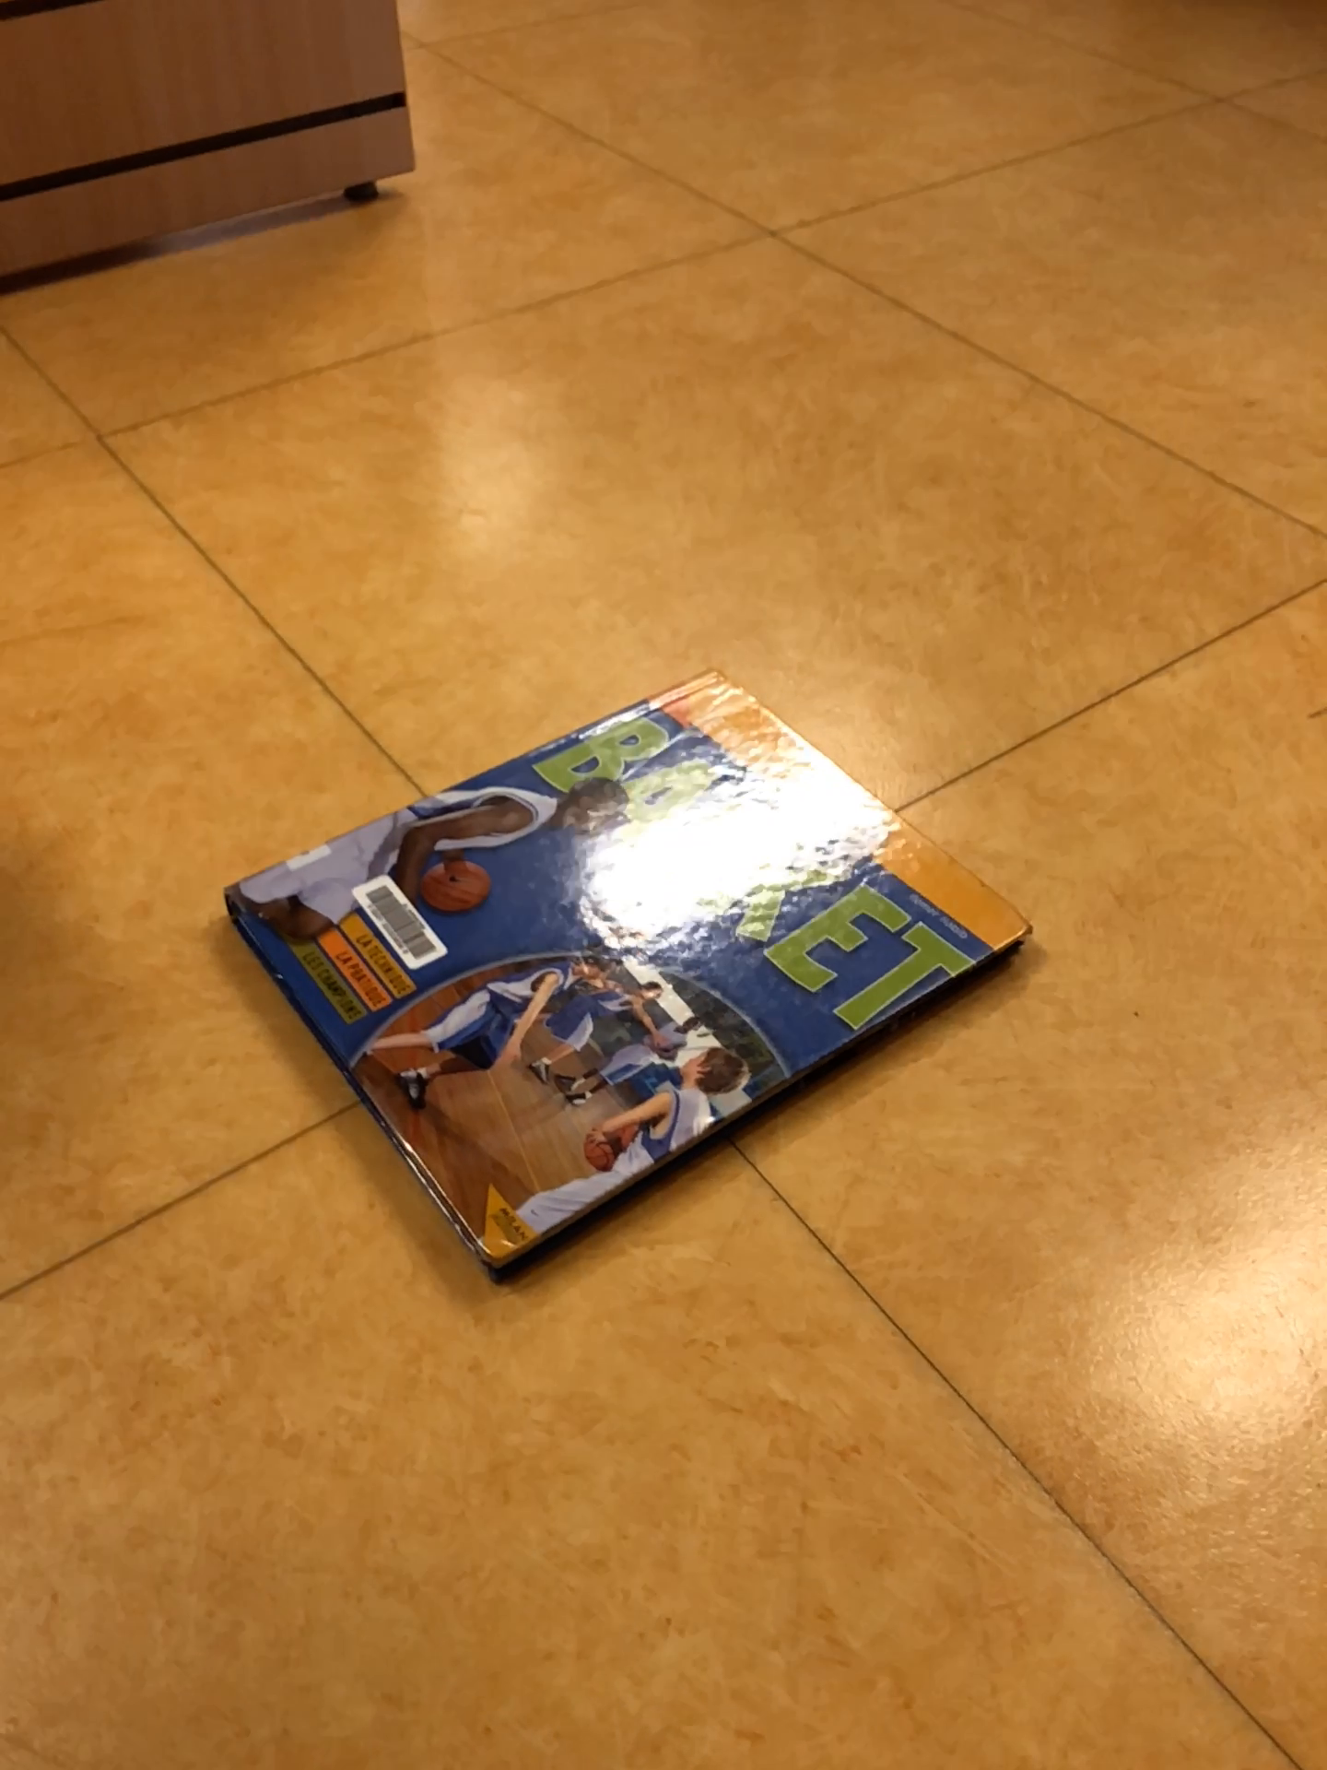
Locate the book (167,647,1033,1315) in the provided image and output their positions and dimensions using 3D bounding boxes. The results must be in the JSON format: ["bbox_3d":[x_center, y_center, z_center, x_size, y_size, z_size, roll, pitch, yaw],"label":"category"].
[{"bbox_3d":[-0.025,0.013,0.566,0.258,0.020,0.210,-28,52,-26],"label":"book"}]
